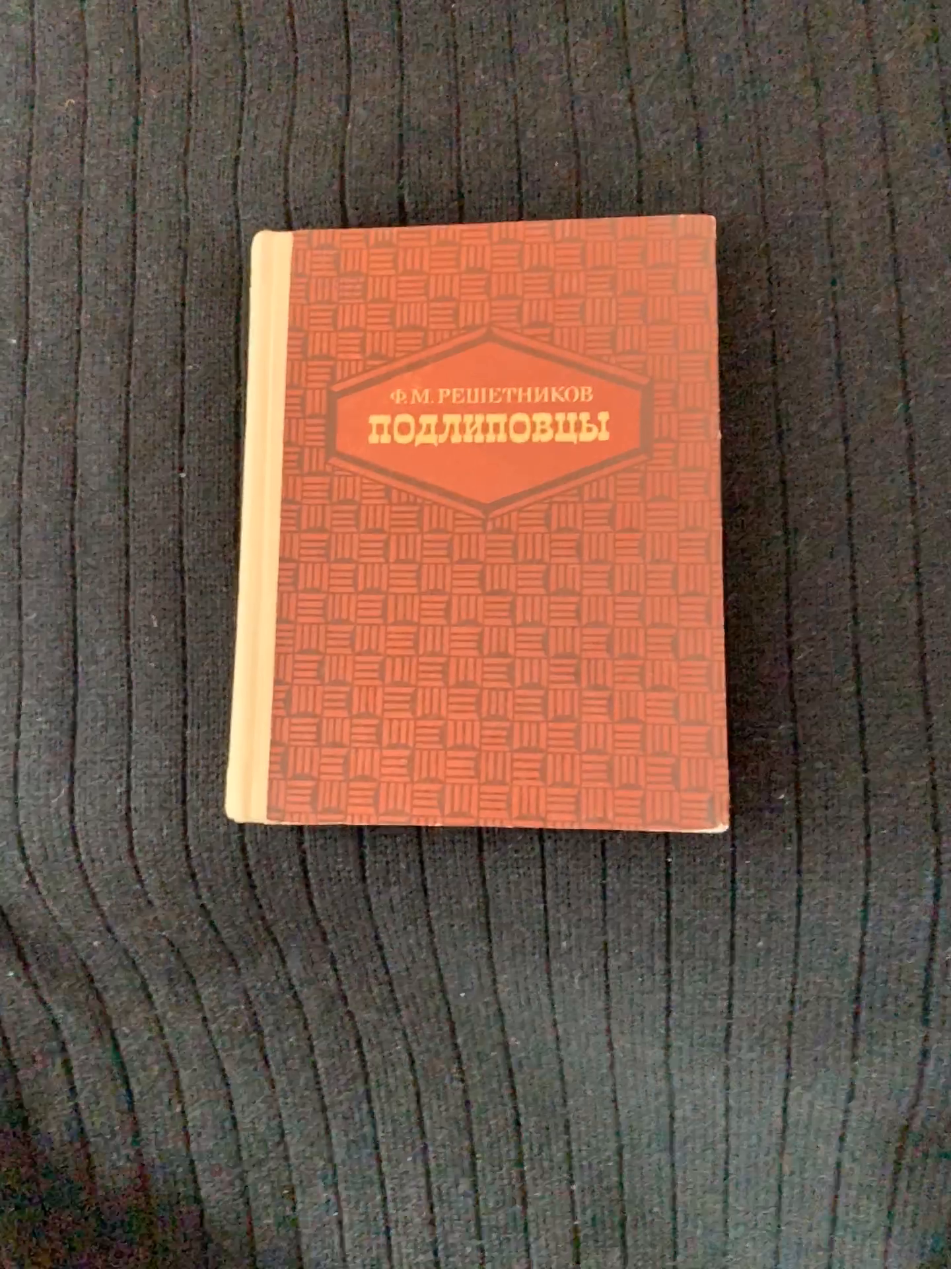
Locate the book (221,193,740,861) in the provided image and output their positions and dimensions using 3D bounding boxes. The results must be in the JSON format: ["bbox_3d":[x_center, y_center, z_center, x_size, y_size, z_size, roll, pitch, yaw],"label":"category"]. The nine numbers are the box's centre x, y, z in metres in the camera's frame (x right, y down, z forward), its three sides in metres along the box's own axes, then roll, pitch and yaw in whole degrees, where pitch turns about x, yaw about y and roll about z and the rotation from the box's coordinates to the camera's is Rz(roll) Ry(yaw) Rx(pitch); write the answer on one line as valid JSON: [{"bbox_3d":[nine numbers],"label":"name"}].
[{"bbox_3d":[0.000,-0.030,0.266,0.129,0.015,0.177,-1,81,5],"label":"book"}]
